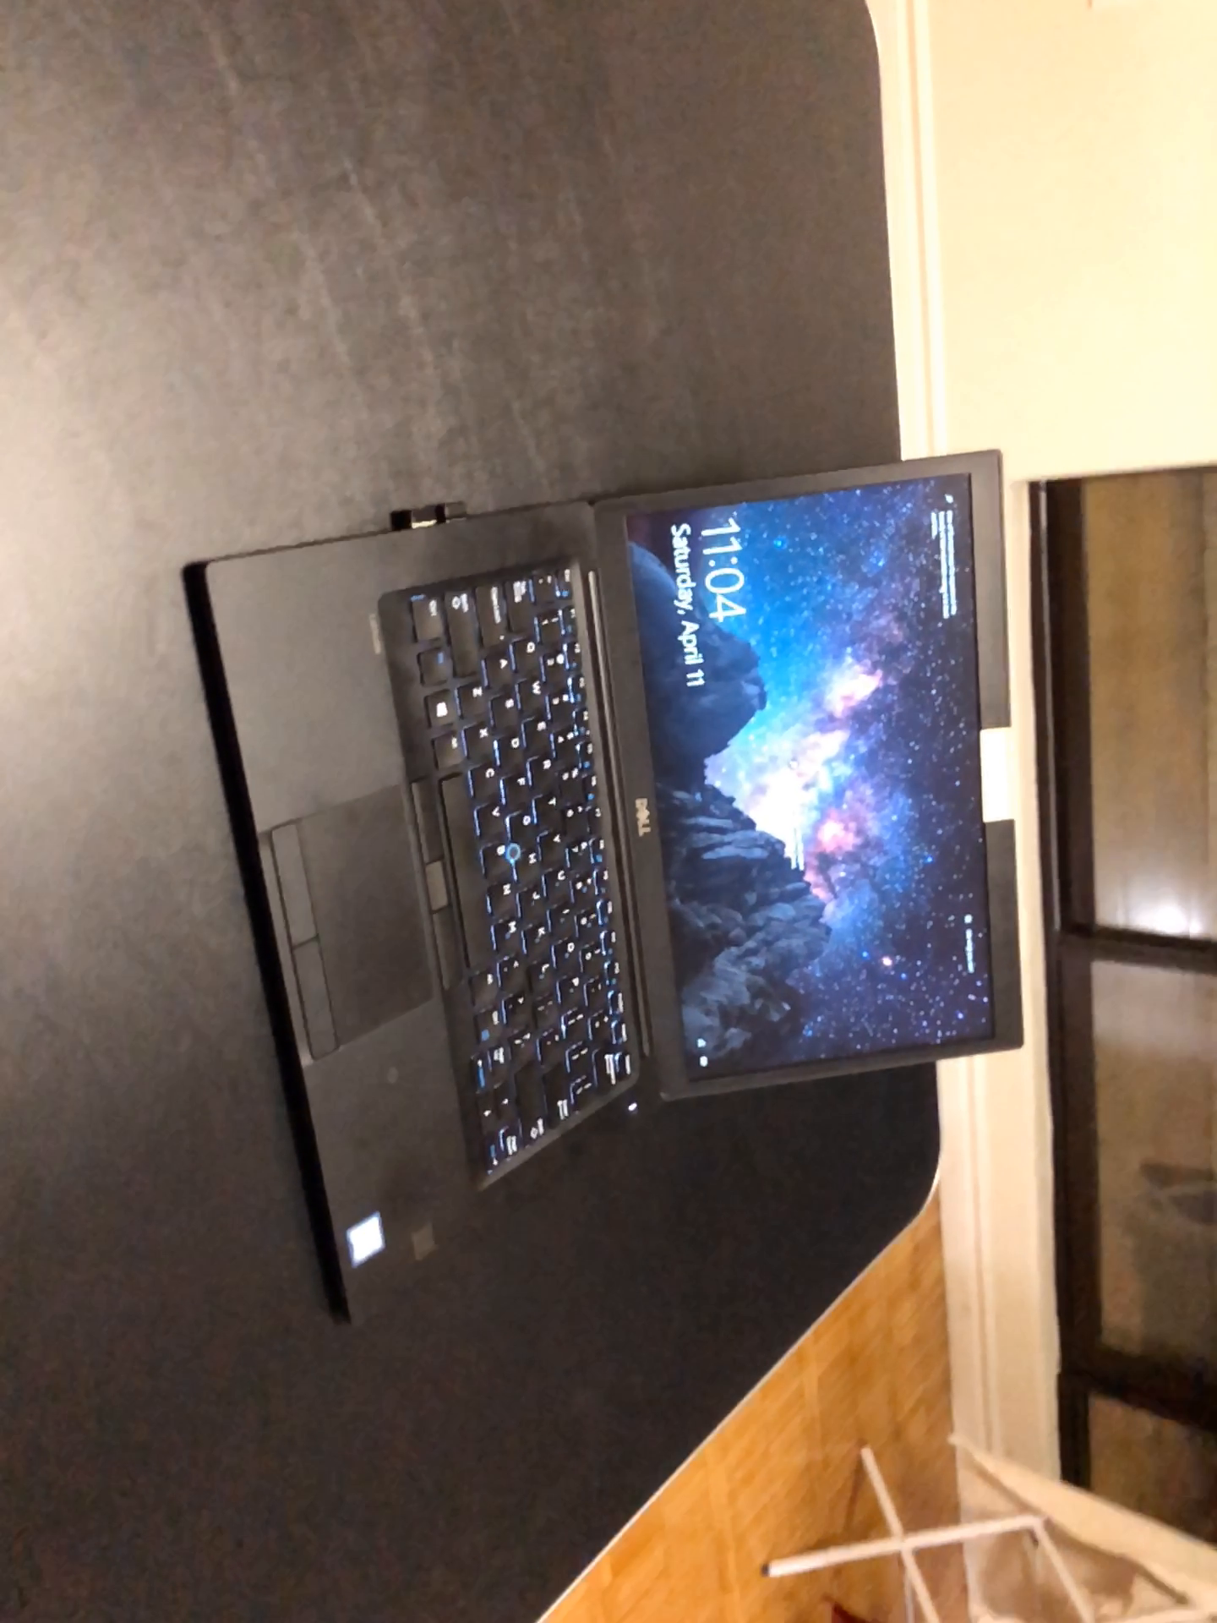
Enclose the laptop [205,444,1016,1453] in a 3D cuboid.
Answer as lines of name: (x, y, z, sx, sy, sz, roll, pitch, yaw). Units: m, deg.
laptop: (0.042, 0.018, 0.613, 0.369, 0.140, 0.320, -25, 113, -48)
